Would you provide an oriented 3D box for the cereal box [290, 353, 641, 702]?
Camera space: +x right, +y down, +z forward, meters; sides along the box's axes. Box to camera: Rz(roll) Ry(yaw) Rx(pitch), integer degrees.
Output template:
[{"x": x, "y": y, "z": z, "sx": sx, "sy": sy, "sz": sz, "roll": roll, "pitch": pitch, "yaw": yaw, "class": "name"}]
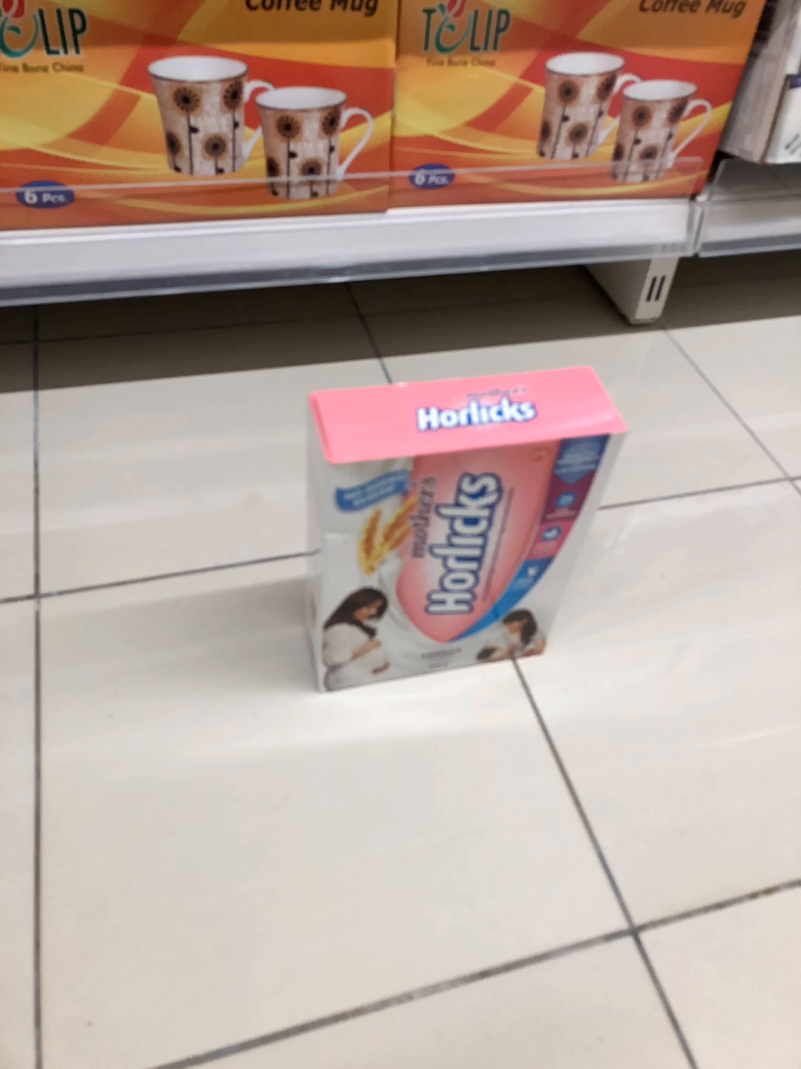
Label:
[{"x": 0.024, "y": 0.002, "z": 0.488, "sx": 0.160, "sy": 0.189, "sz": 0.060, "roll": -8, "pitch": 47, "yaw": -13, "class": "cereal box"}]
